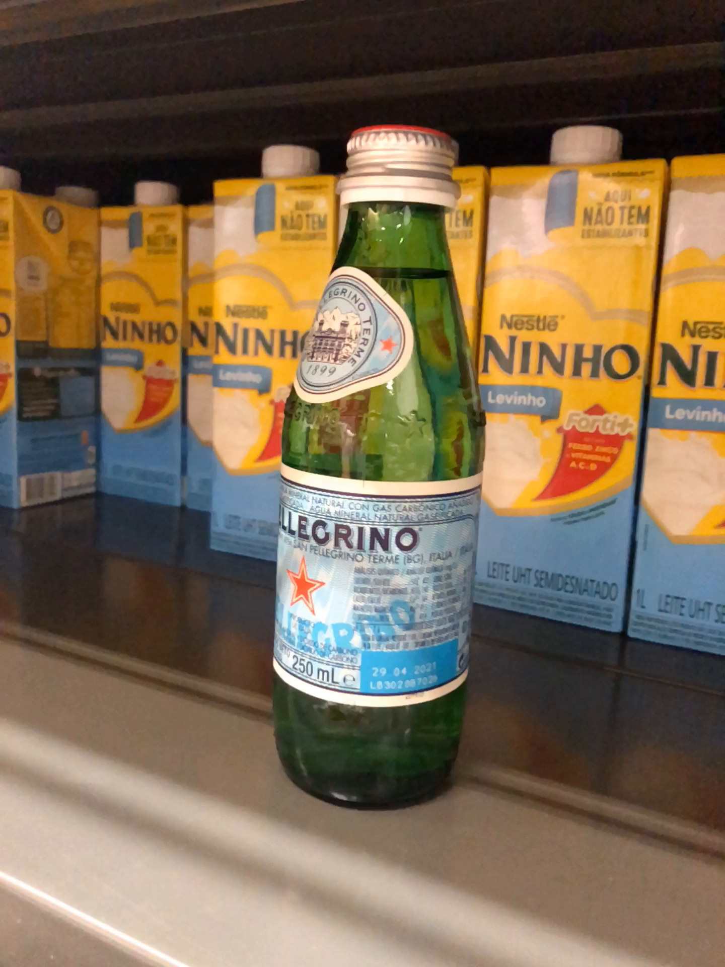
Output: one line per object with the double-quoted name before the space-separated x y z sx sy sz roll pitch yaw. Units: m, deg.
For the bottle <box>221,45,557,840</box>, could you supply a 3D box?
"bottle" 0.005 -0.010 0.222 0.060 0.179 0.060 1 12 0
